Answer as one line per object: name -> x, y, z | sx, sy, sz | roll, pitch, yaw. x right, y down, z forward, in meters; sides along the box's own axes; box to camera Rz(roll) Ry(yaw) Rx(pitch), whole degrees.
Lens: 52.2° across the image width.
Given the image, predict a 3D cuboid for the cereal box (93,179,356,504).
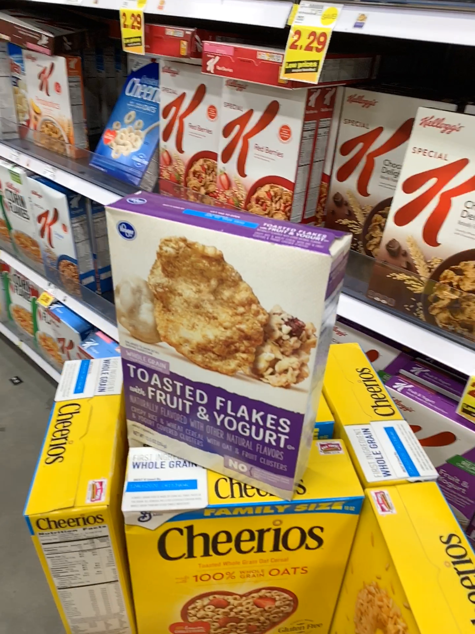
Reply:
cereal box -> -0.020, 0.029, 0.455 | 0.200, 0.269, 0.060 | 16, 35, 18
